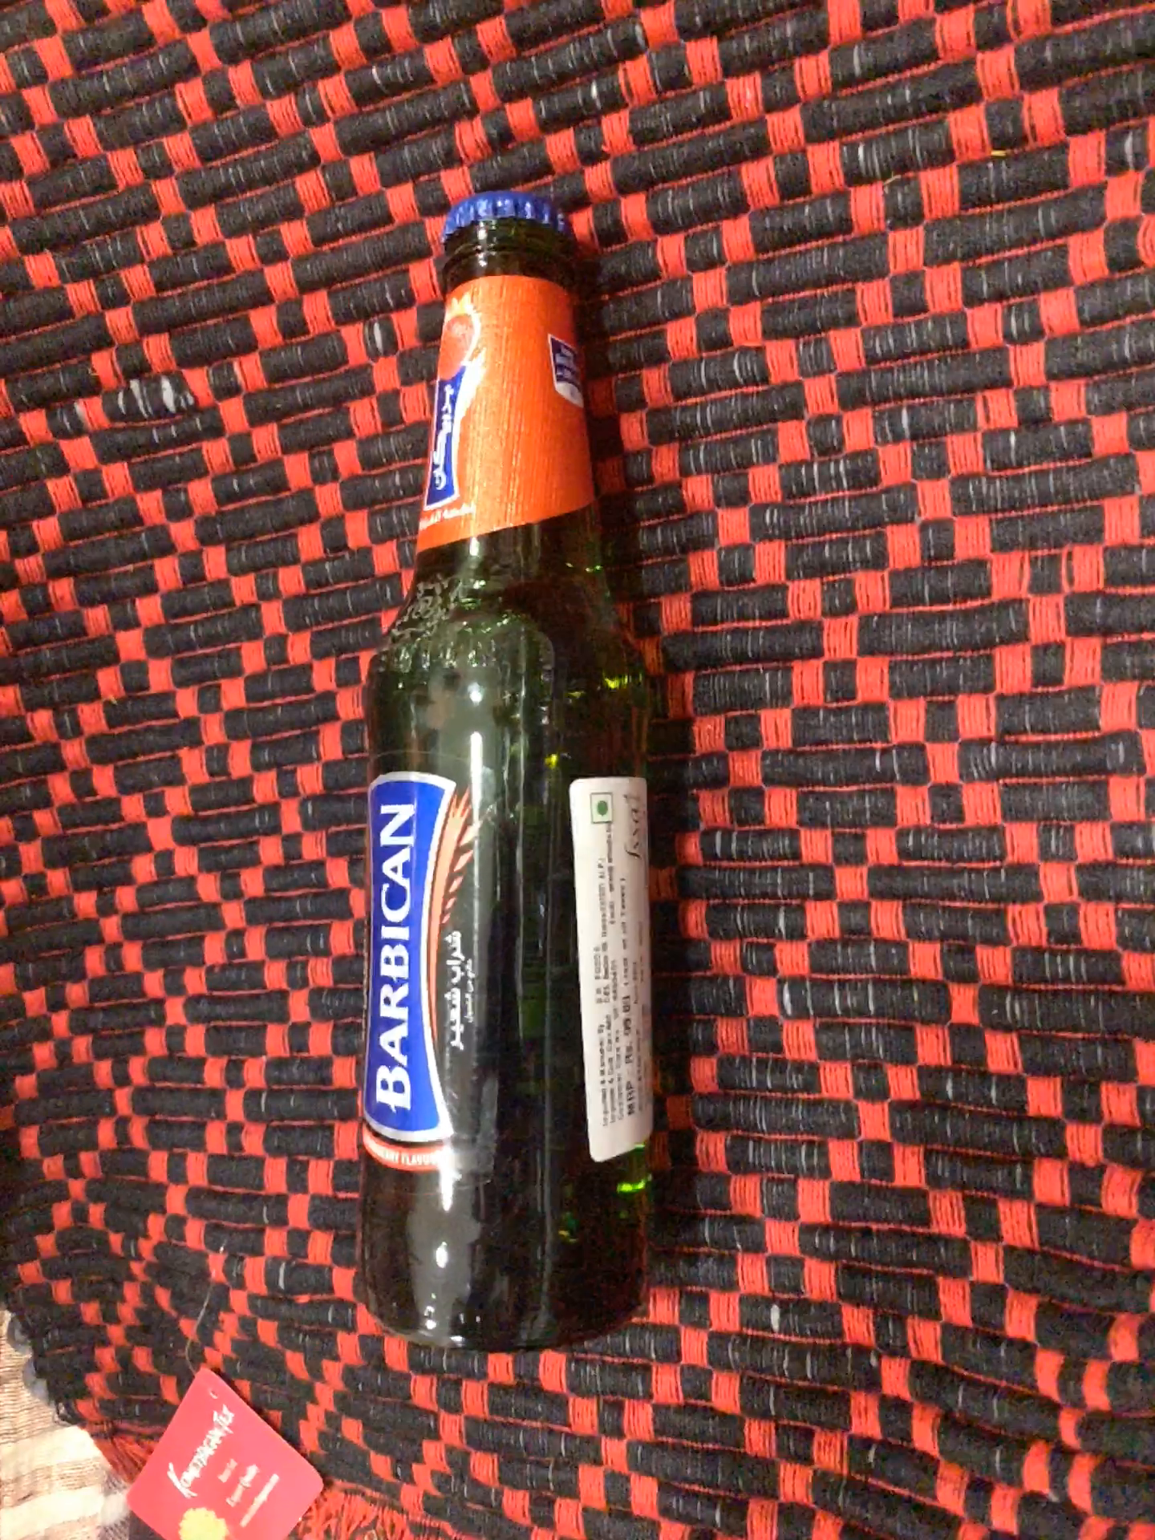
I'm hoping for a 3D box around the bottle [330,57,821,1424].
[{"bbox_3d":[-0.001,-0.006,0.237,0.060,0.070,0.220,-6,84,41],"label":"bottle"}]
